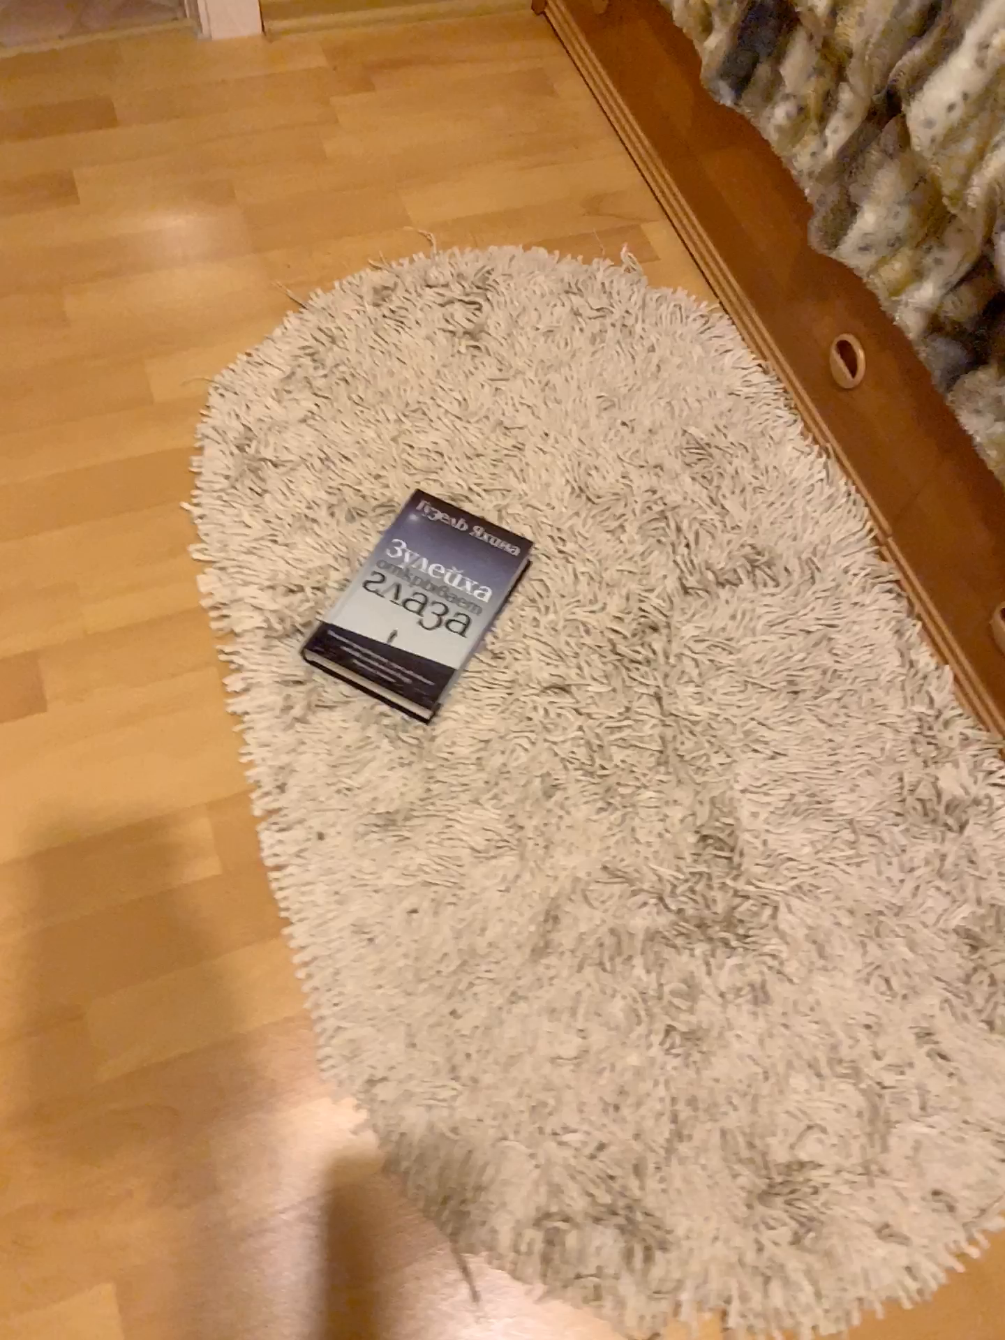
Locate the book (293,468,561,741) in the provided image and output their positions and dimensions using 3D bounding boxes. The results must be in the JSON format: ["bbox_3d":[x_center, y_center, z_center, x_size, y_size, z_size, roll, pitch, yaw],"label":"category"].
[{"bbox_3d":[-0.065,-0.066,0.937,0.150,0.040,0.221,27,63,9],"label":"book"}]
